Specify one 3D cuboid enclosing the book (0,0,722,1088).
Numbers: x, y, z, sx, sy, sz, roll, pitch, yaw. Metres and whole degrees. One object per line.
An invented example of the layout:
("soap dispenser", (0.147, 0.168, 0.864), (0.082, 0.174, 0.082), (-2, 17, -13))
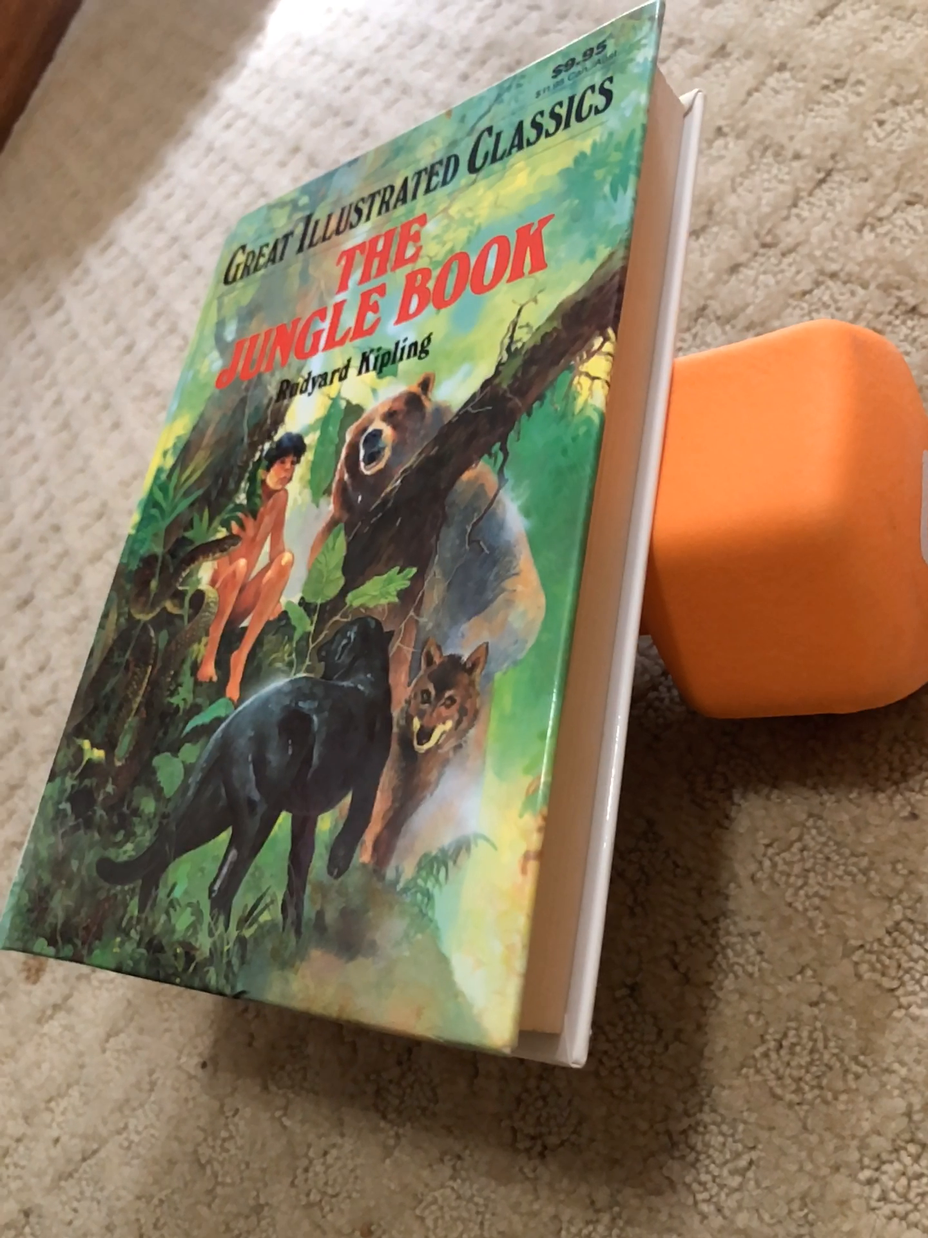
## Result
("book", (-0.025, -0.025, 0.225), (0.140, 0.029, 0.208), (-7, 63, 38))
